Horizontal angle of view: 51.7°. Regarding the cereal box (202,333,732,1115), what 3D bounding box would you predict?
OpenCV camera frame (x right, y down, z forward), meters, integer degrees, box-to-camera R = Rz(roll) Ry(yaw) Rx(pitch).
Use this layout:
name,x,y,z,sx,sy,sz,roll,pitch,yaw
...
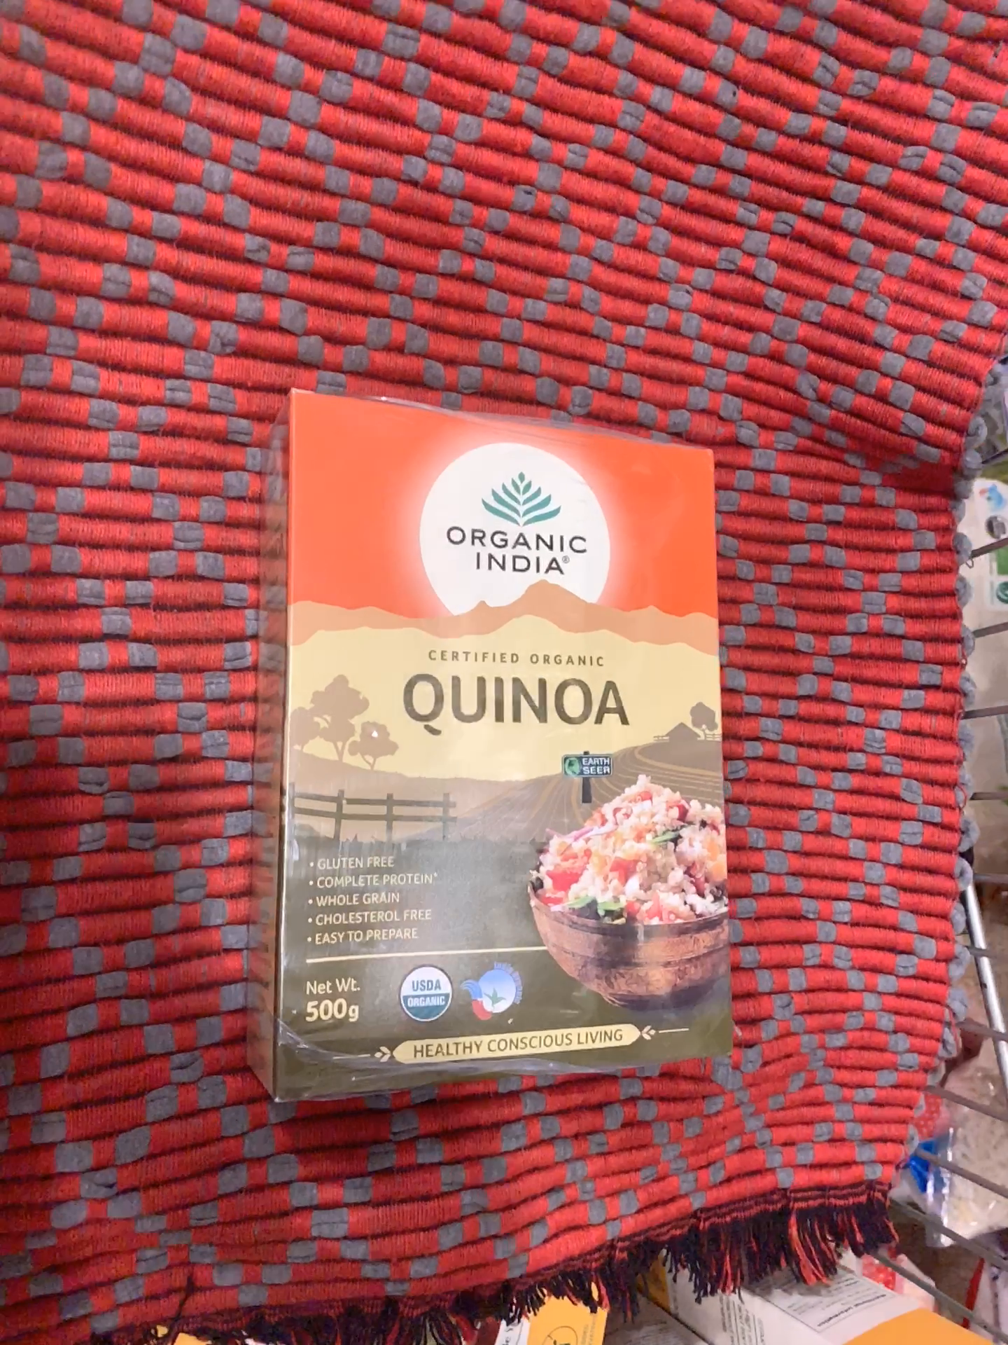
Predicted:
name,x,y,z,sx,sy,sz,roll,pitch,yaw
cereal box,-0.011,0.015,0.296,0.130,0.070,0.180,3,84,-22
